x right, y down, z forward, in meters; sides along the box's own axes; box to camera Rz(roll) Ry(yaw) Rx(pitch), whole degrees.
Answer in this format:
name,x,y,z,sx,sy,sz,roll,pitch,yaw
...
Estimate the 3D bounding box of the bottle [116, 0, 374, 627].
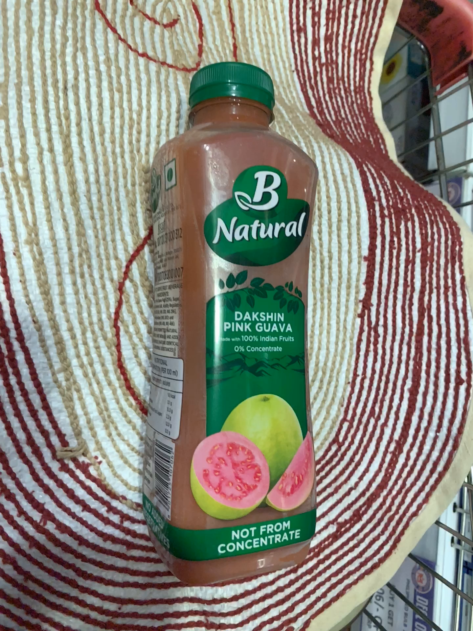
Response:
name,x,y,z,sx,sy,sz,roll,pitch,yaw
bottle,0.001,-0.009,0.195,0.080,0.060,0.210,2,88,-24
